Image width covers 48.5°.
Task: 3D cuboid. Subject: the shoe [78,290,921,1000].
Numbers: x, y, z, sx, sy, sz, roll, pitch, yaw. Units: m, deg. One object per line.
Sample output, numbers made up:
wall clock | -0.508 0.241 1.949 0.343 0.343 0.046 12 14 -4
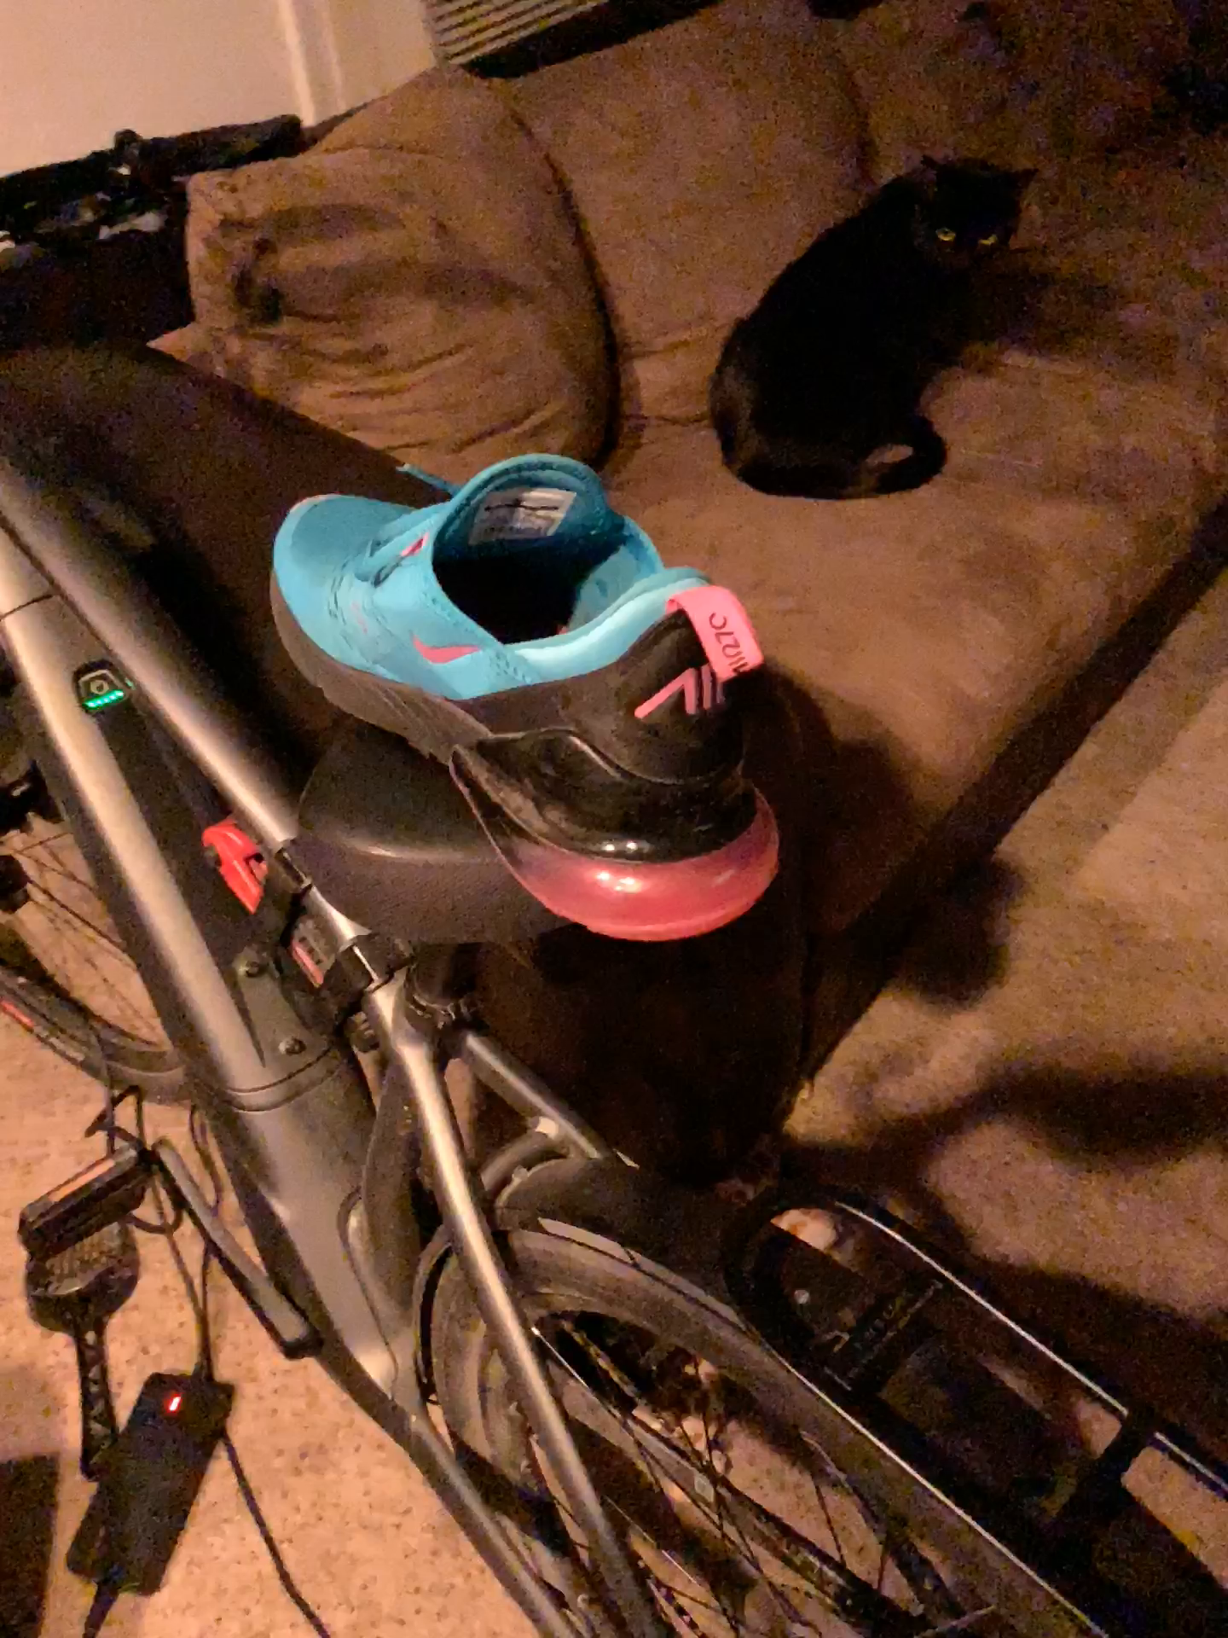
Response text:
shoe | -0.057 -0.095 0.575 0.150 0.130 0.330 -36 51 -29
